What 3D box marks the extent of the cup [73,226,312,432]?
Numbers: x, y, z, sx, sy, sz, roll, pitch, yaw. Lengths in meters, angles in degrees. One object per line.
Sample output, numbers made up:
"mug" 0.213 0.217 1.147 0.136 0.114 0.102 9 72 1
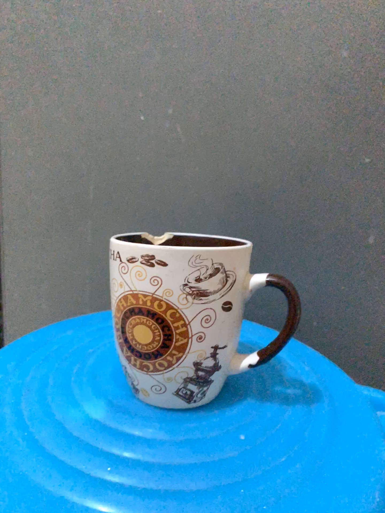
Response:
"cup" 0.002 0.031 0.224 0.109 0.083 0.070 4 9 9
